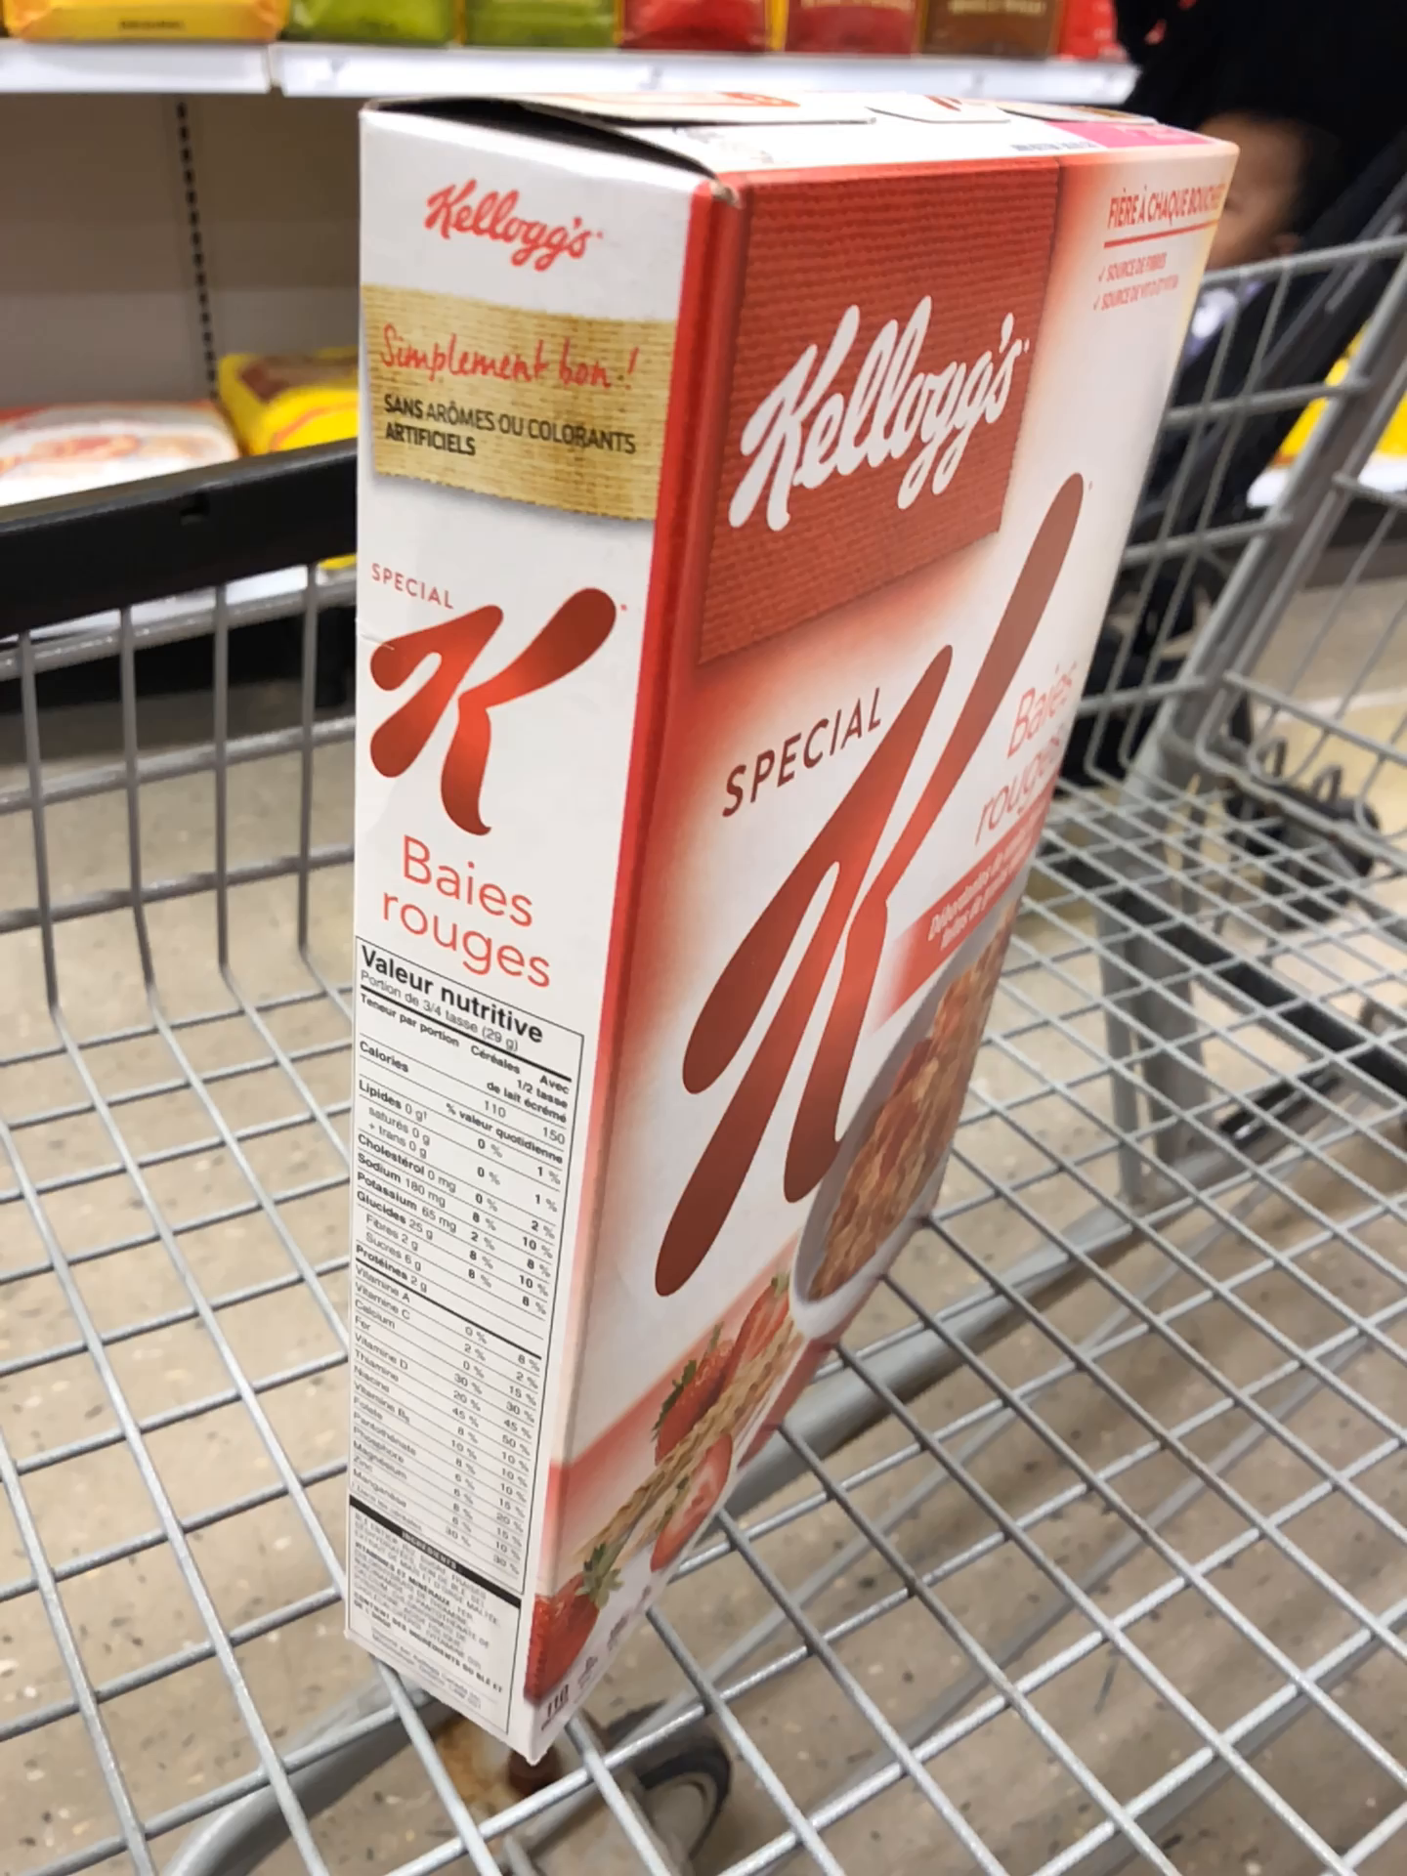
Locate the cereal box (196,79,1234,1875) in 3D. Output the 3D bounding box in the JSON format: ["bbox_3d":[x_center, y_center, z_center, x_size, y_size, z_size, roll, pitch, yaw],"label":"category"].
[{"bbox_3d":[0.013,-0.001,0.290,0.050,0.269,0.211,21,33,23],"label":"cereal box"}]
